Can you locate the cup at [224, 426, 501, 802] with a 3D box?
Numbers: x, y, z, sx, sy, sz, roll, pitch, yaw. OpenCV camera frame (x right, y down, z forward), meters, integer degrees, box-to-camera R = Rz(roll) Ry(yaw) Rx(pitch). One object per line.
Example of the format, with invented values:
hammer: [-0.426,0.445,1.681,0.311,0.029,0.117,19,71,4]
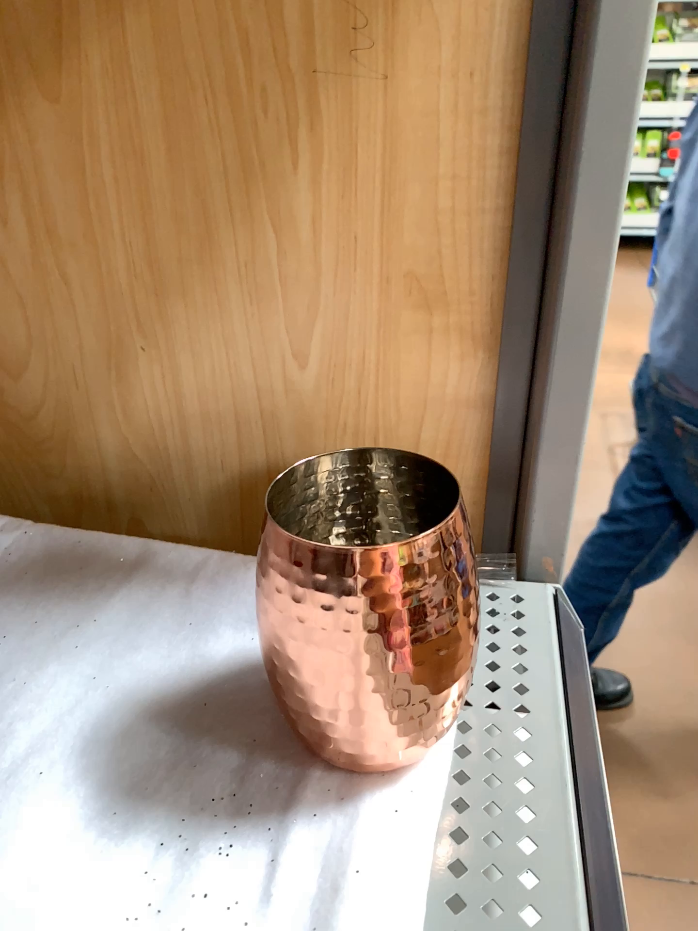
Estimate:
cup: [0.010,0.053,0.277,0.080,0.104,0.079,-1,30,1]
